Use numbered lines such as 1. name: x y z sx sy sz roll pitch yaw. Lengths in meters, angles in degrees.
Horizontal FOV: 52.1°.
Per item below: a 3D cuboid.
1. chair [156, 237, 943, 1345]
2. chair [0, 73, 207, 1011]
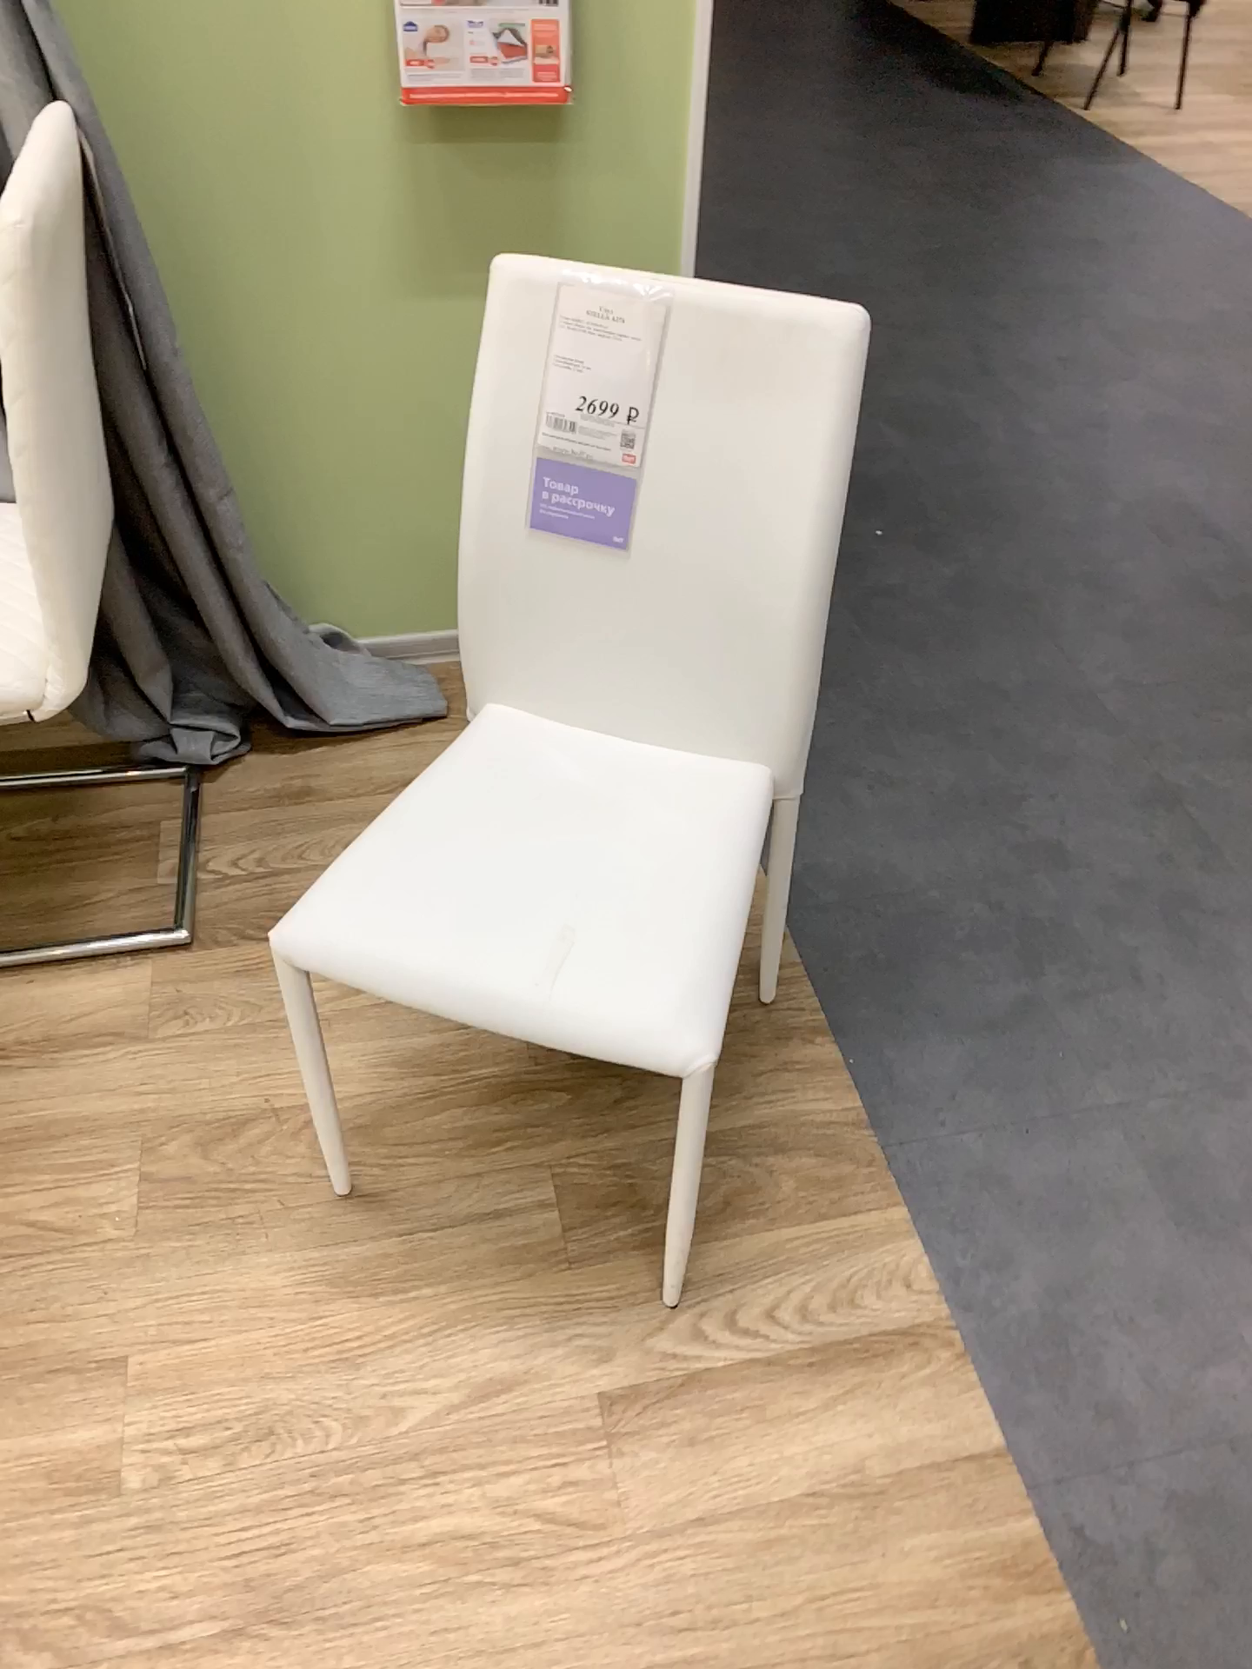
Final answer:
1. chair: -0.032 -0.013 1.322 0.450 0.925 0.553 14 44 12
2. chair: -0.881 -0.306 1.517 0.560 0.945 0.452 -7 44 -10
